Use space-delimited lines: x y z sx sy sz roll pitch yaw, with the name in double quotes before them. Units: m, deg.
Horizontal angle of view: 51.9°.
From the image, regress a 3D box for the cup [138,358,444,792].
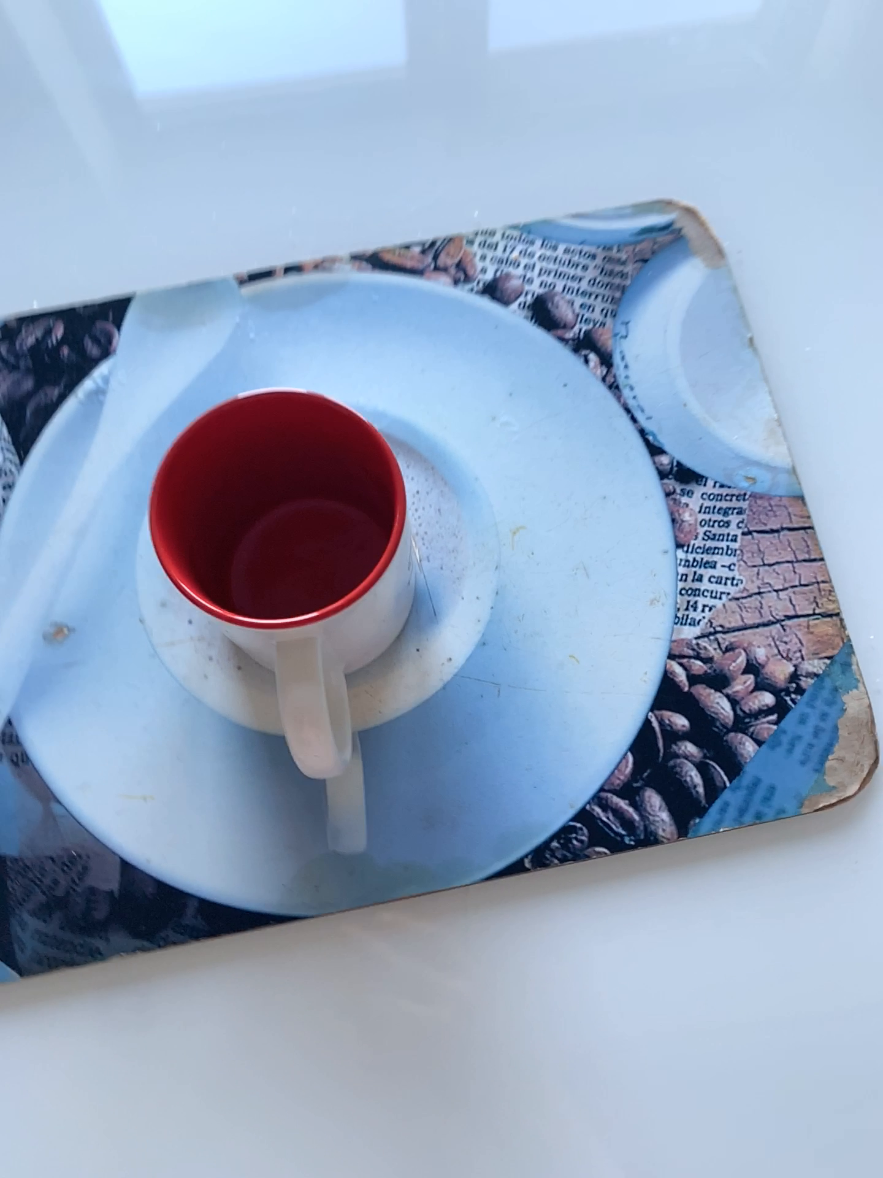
"cup" -0.047 0.004 0.324 0.077 0.115 0.117 -9 75 -2
